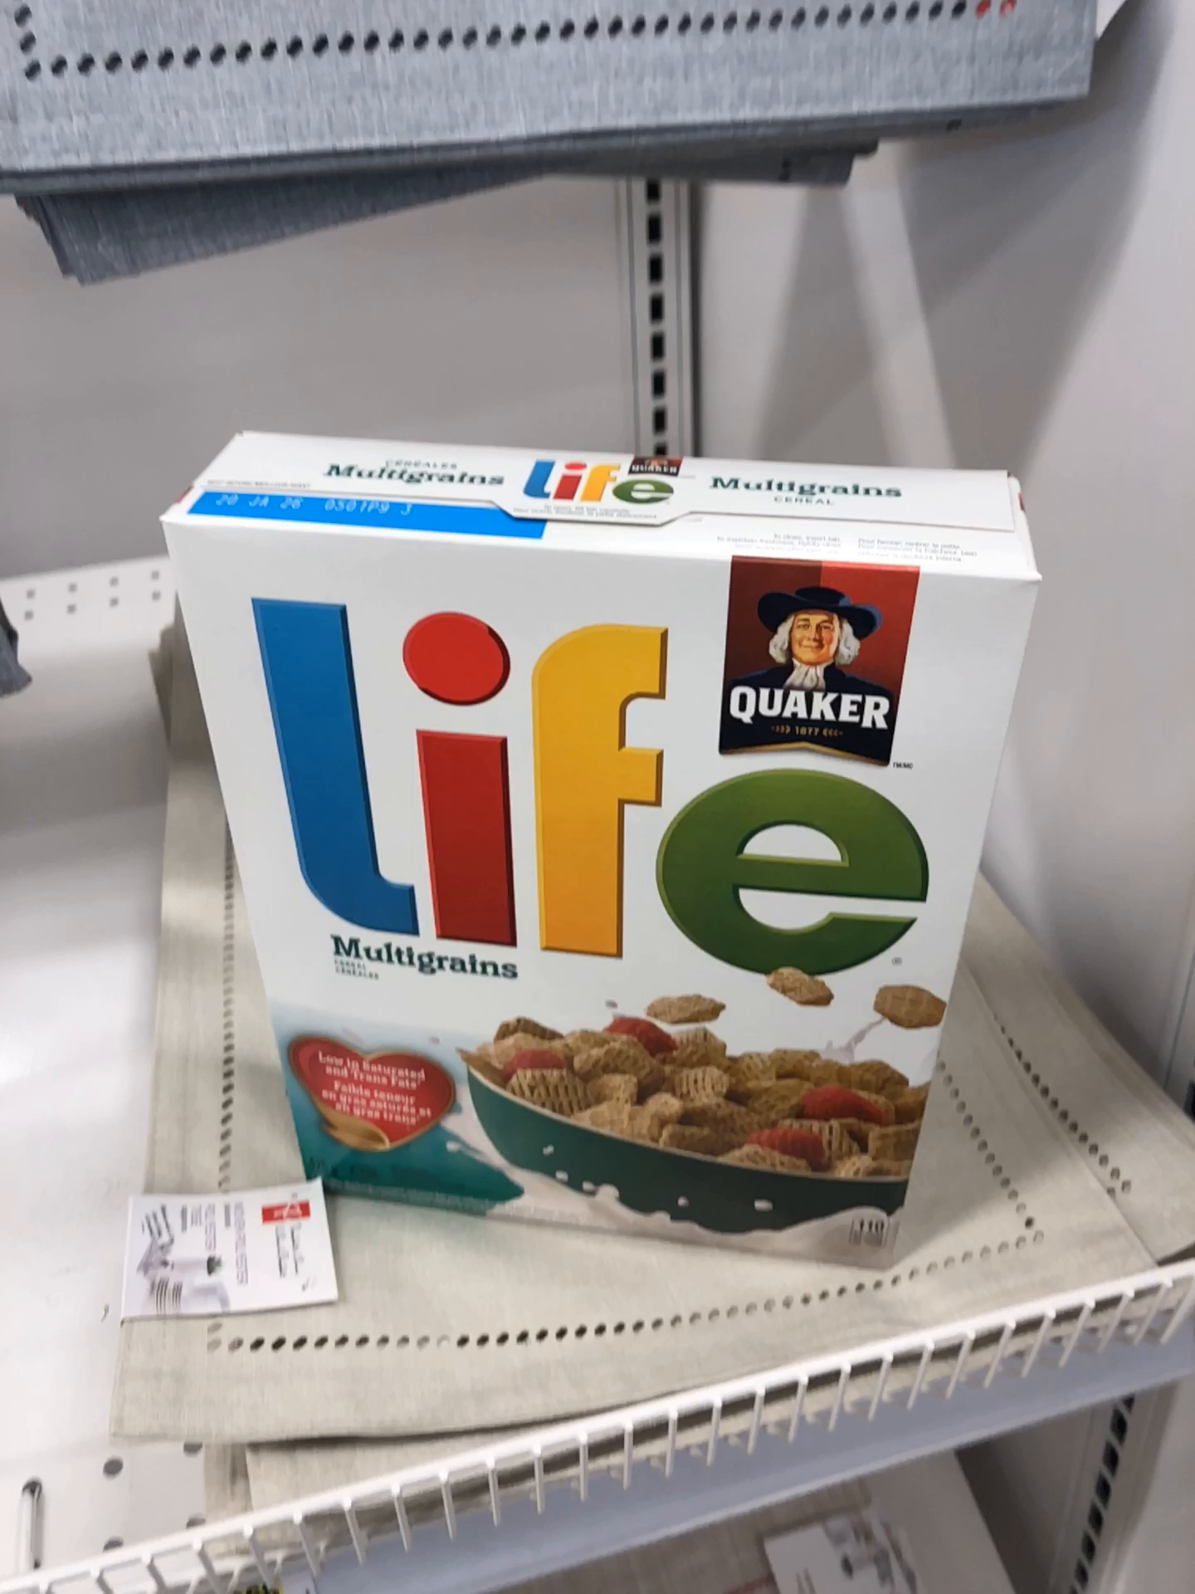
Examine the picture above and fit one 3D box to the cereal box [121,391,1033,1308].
[{"bbox_3d":[-0.006,0.031,0.407,0.210,0.279,0.060,6,36,8],"label":"cereal box"}]
